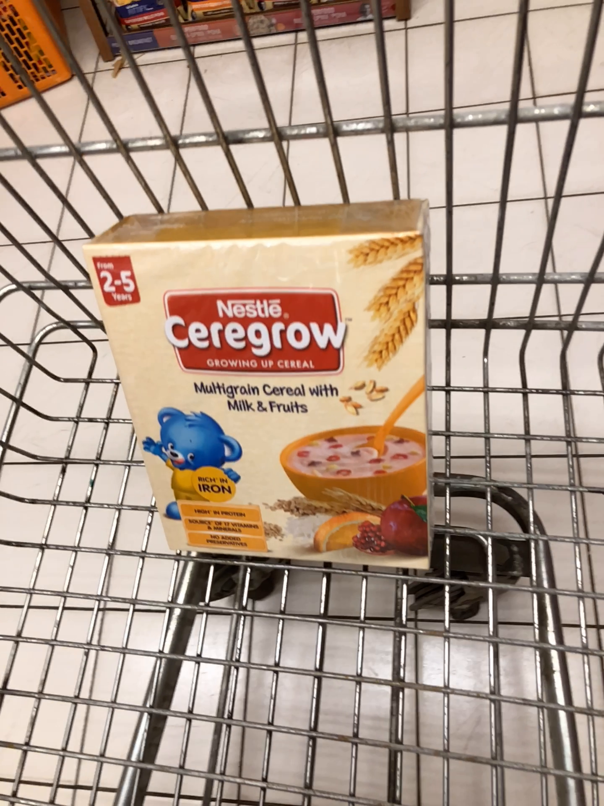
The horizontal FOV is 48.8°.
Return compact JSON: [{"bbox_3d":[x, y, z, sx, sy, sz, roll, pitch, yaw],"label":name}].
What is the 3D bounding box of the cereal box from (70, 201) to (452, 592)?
[{"bbox_3d":[-0.007,0.003,0.338,0.160,0.189,0.050,1,32,13],"label":"cereal box"}]
